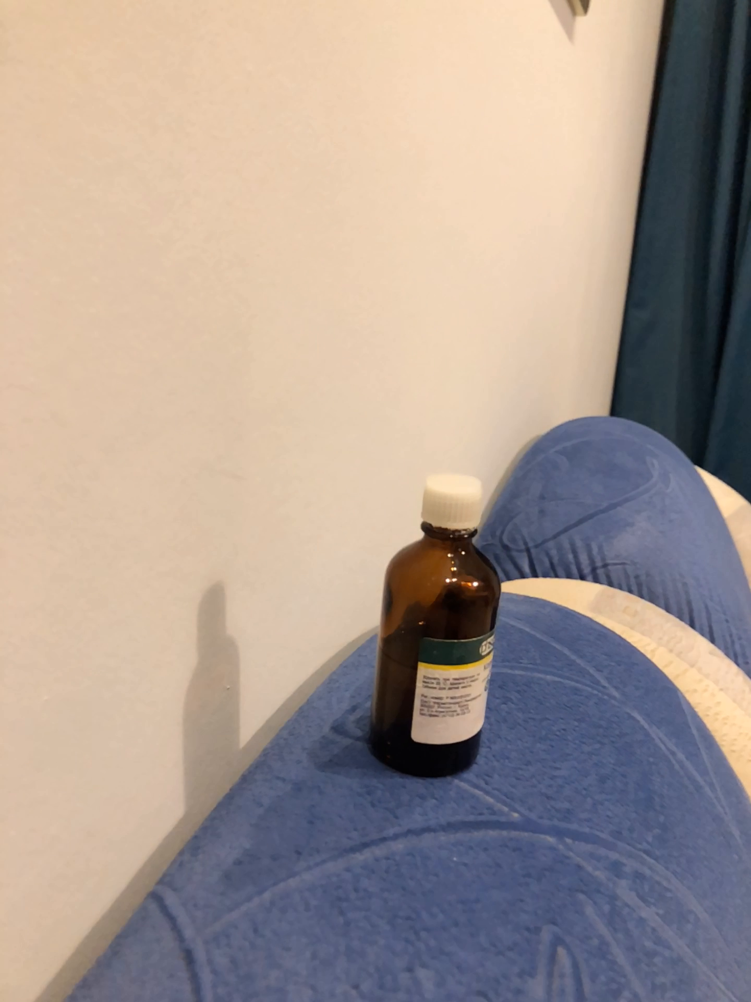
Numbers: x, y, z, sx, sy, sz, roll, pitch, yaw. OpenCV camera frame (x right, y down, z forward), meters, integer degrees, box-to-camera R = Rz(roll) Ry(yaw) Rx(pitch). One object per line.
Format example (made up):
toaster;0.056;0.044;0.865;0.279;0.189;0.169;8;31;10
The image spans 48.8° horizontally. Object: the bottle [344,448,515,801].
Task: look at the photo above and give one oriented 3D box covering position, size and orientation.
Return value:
bottle;0.018;0.038;0.273;0.040;0.100;0.045;8;17;15
